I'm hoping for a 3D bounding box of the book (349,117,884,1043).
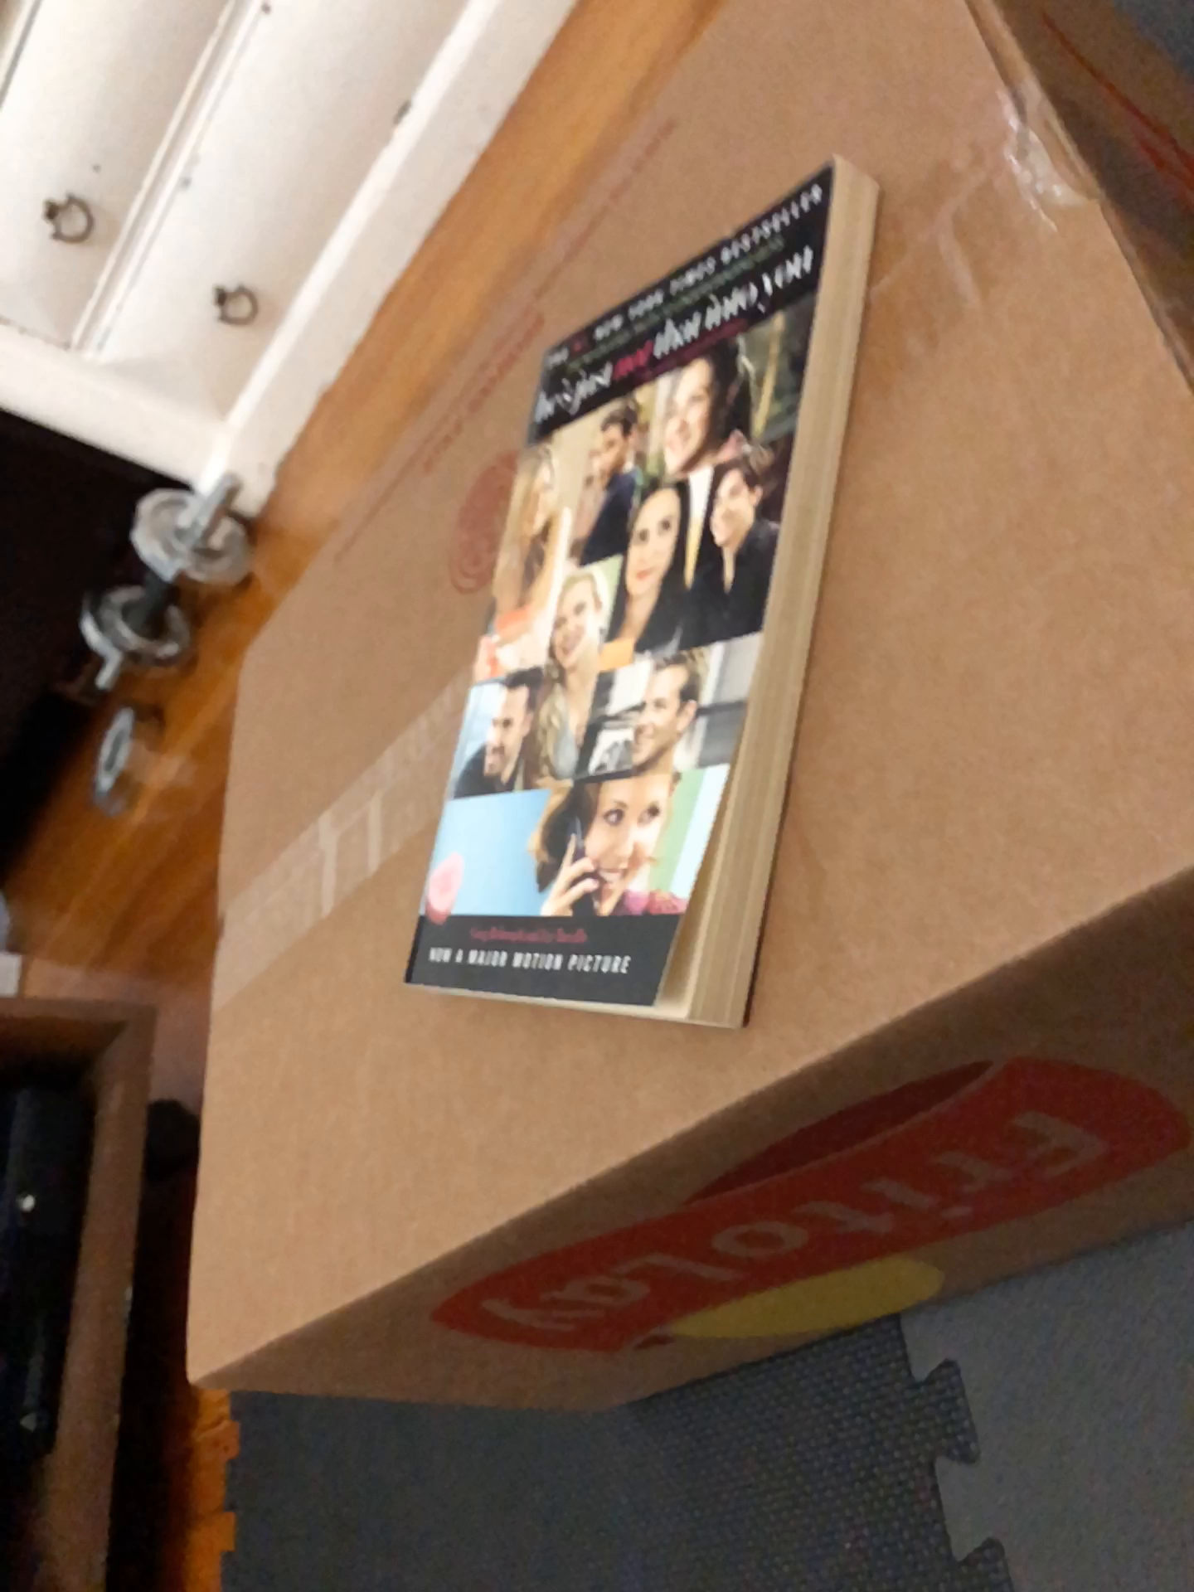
[{"bbox_3d":[-0.002,-0.046,0.354,0.161,0.020,0.210,-10,67,55],"label":"book"}]
